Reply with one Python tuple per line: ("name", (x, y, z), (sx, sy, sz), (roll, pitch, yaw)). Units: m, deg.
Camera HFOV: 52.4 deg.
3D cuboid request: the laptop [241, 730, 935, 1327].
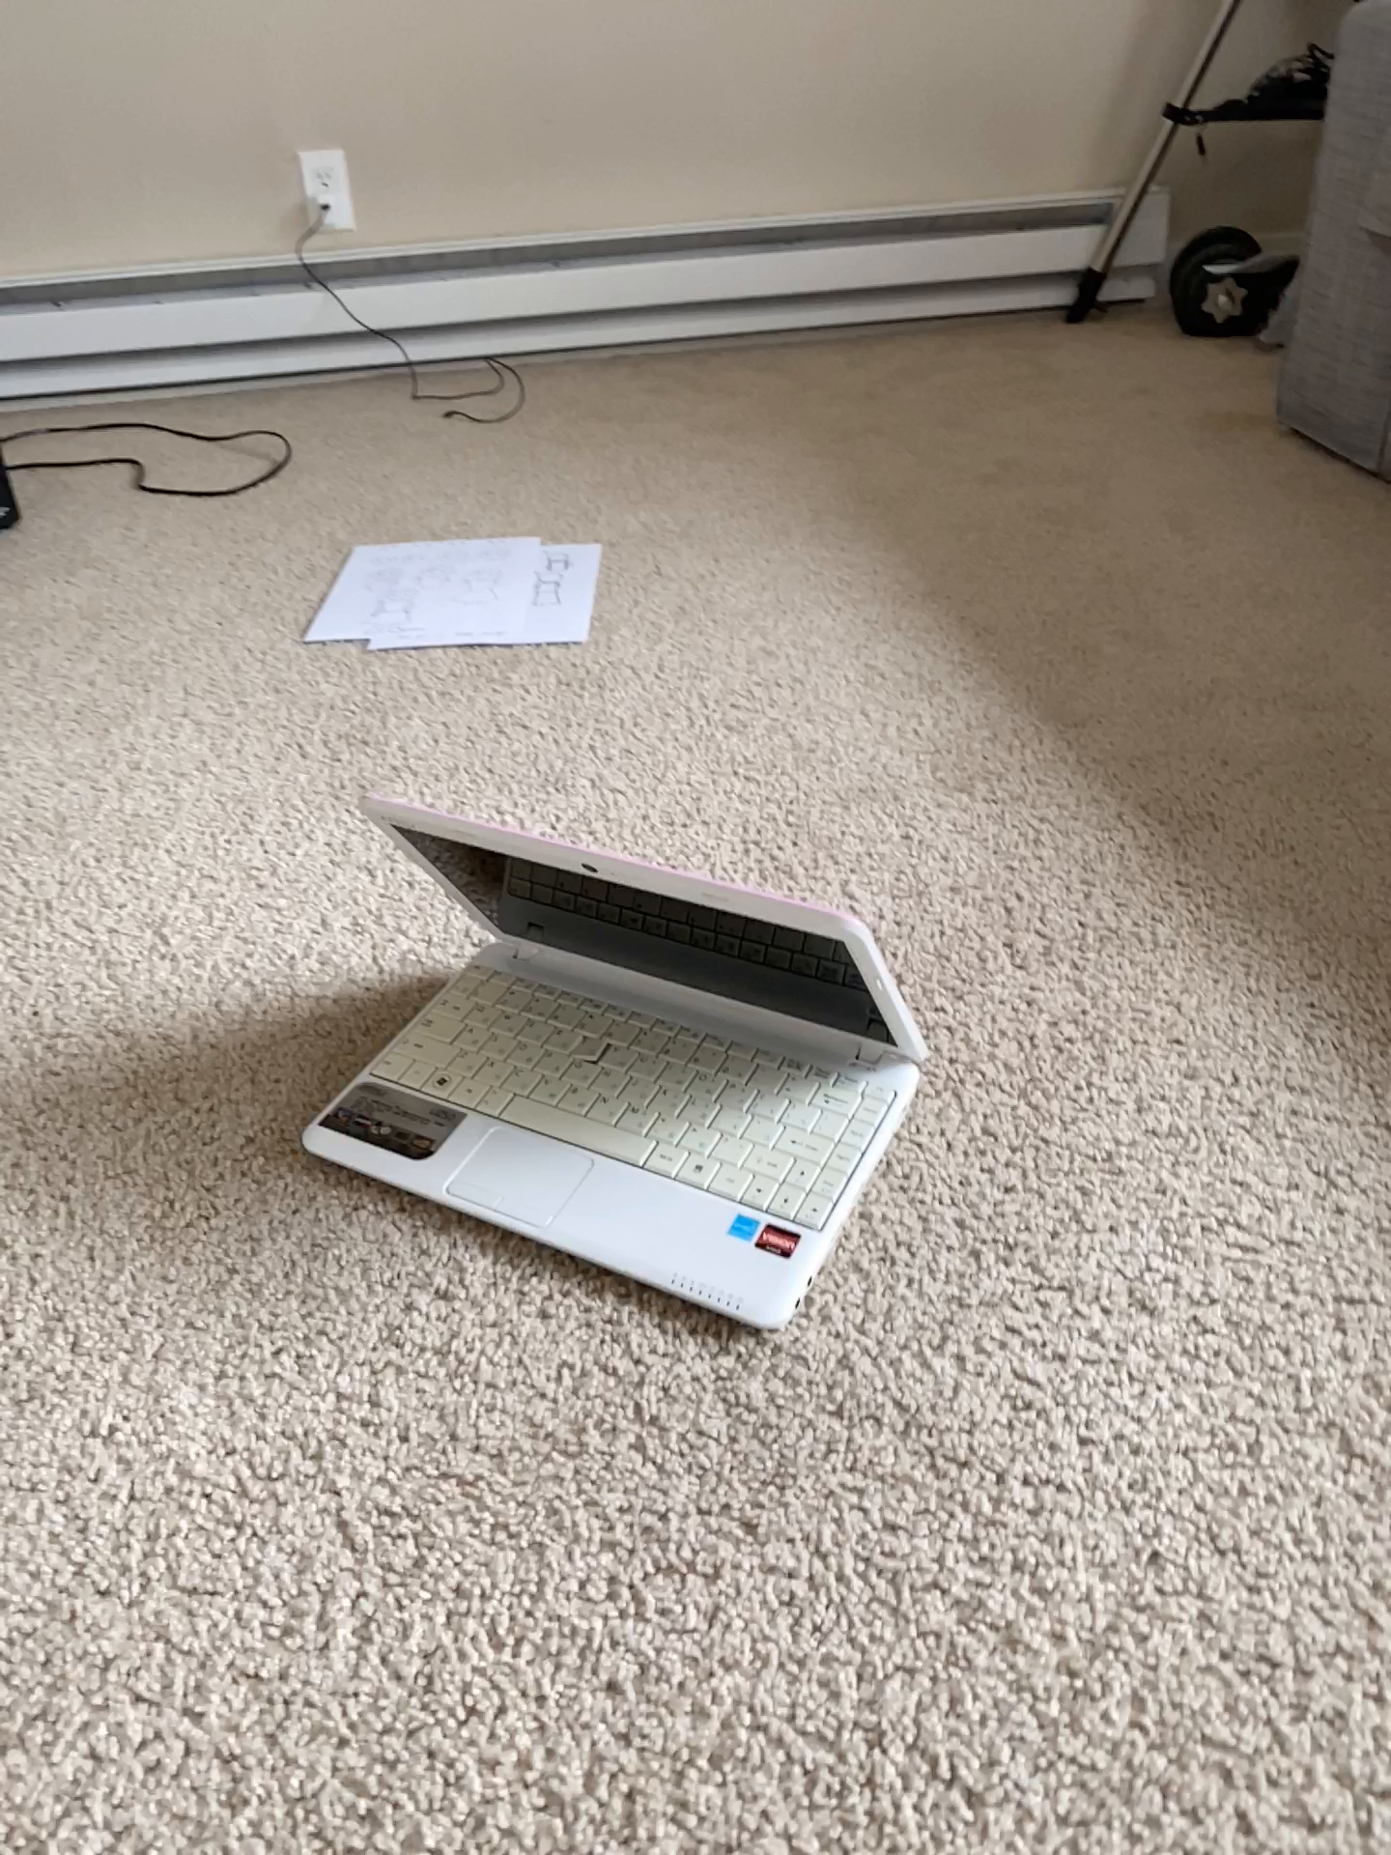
("laptop", (-0.047, 0.034, 0.729), (0.286, 0.147, 0.188), (14, 40, 25))
